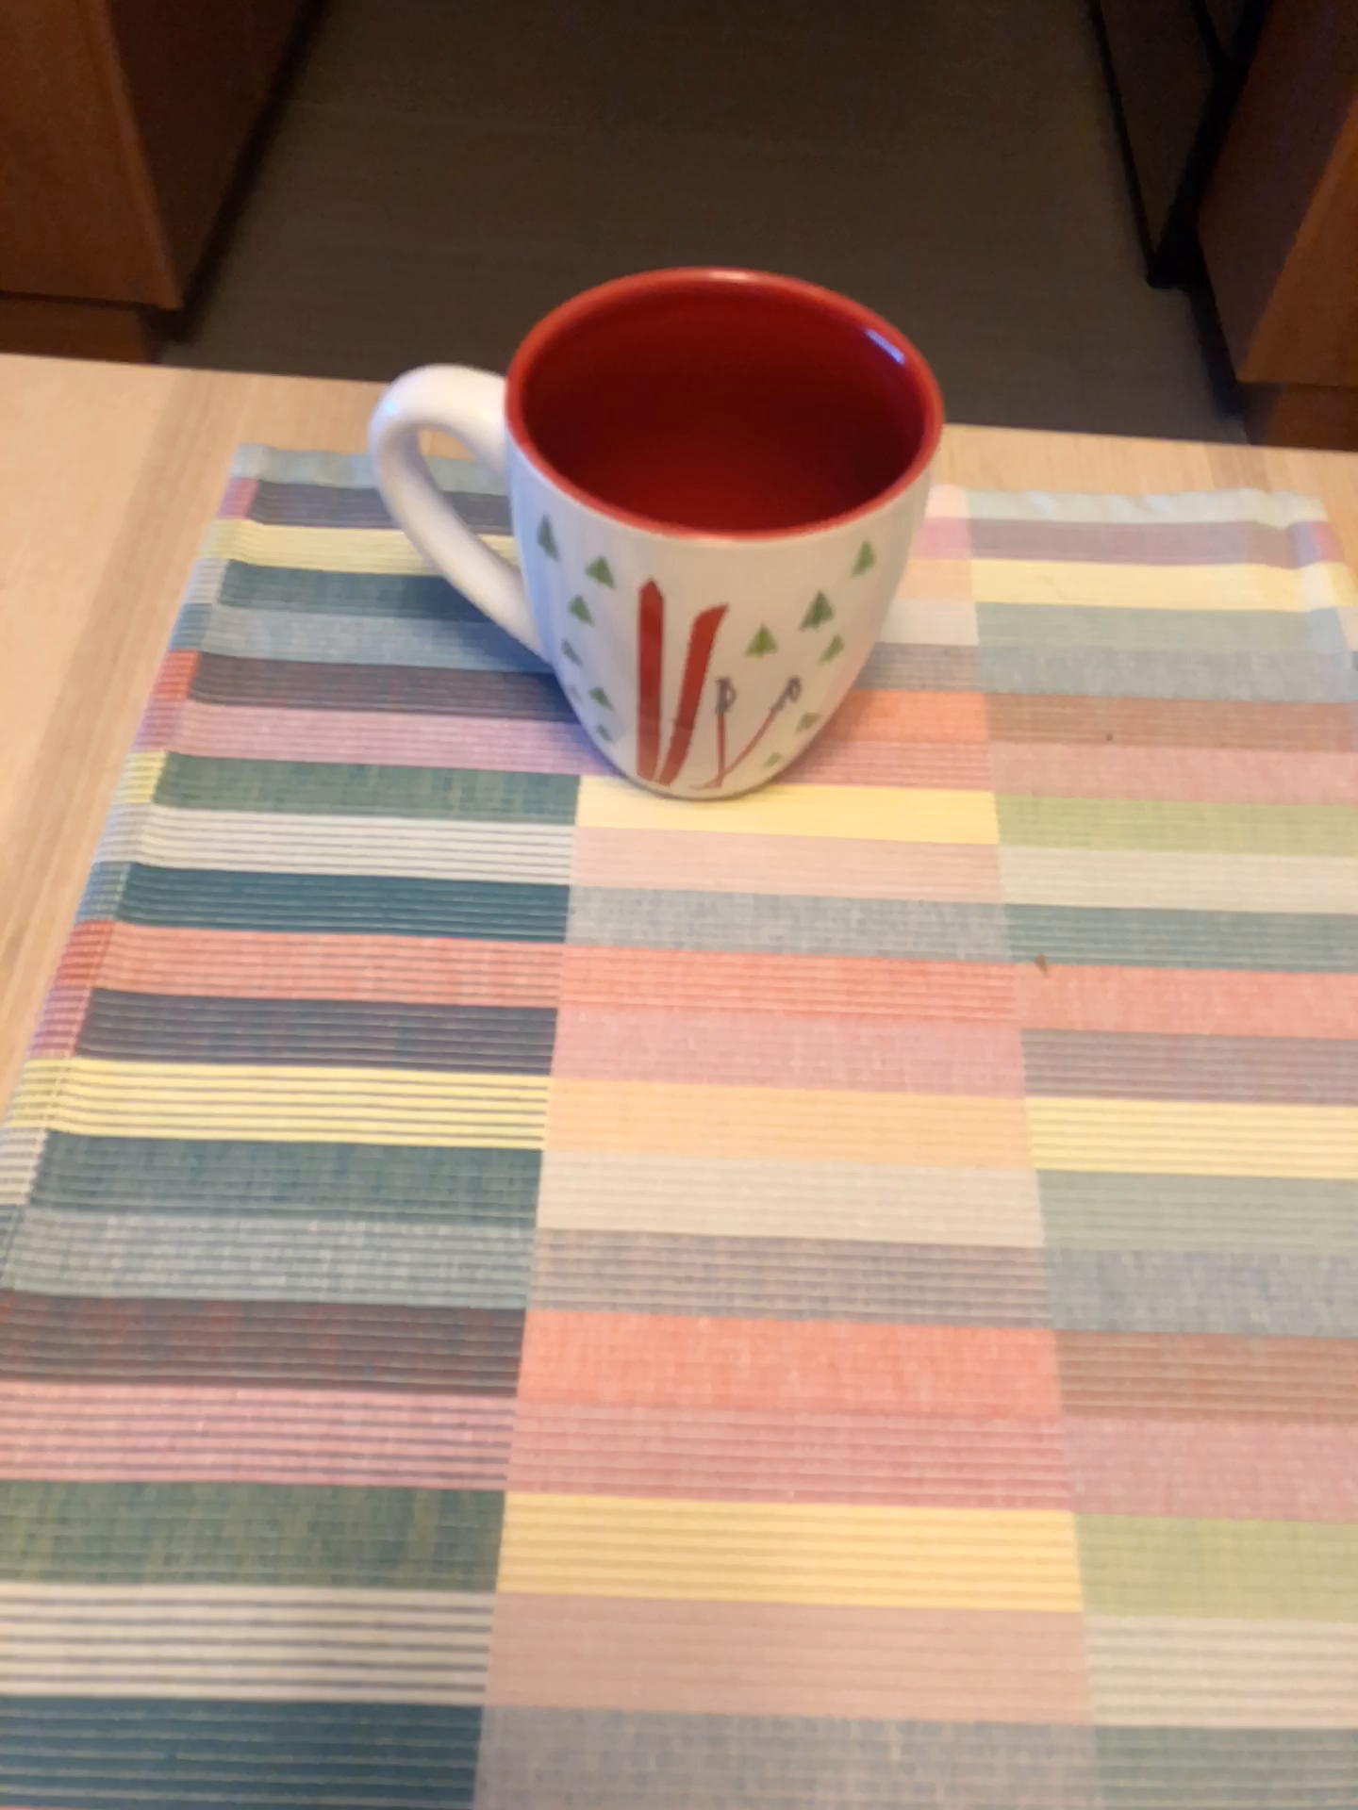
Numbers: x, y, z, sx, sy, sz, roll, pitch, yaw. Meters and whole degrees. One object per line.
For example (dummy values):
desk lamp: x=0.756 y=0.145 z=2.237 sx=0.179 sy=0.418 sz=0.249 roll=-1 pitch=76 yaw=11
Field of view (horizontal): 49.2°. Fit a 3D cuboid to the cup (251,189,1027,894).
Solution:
cup: x=-0.006 y=-0.086 z=0.349 sx=0.140 sy=0.090 sz=0.100 roll=16 pitch=55 yaw=7
